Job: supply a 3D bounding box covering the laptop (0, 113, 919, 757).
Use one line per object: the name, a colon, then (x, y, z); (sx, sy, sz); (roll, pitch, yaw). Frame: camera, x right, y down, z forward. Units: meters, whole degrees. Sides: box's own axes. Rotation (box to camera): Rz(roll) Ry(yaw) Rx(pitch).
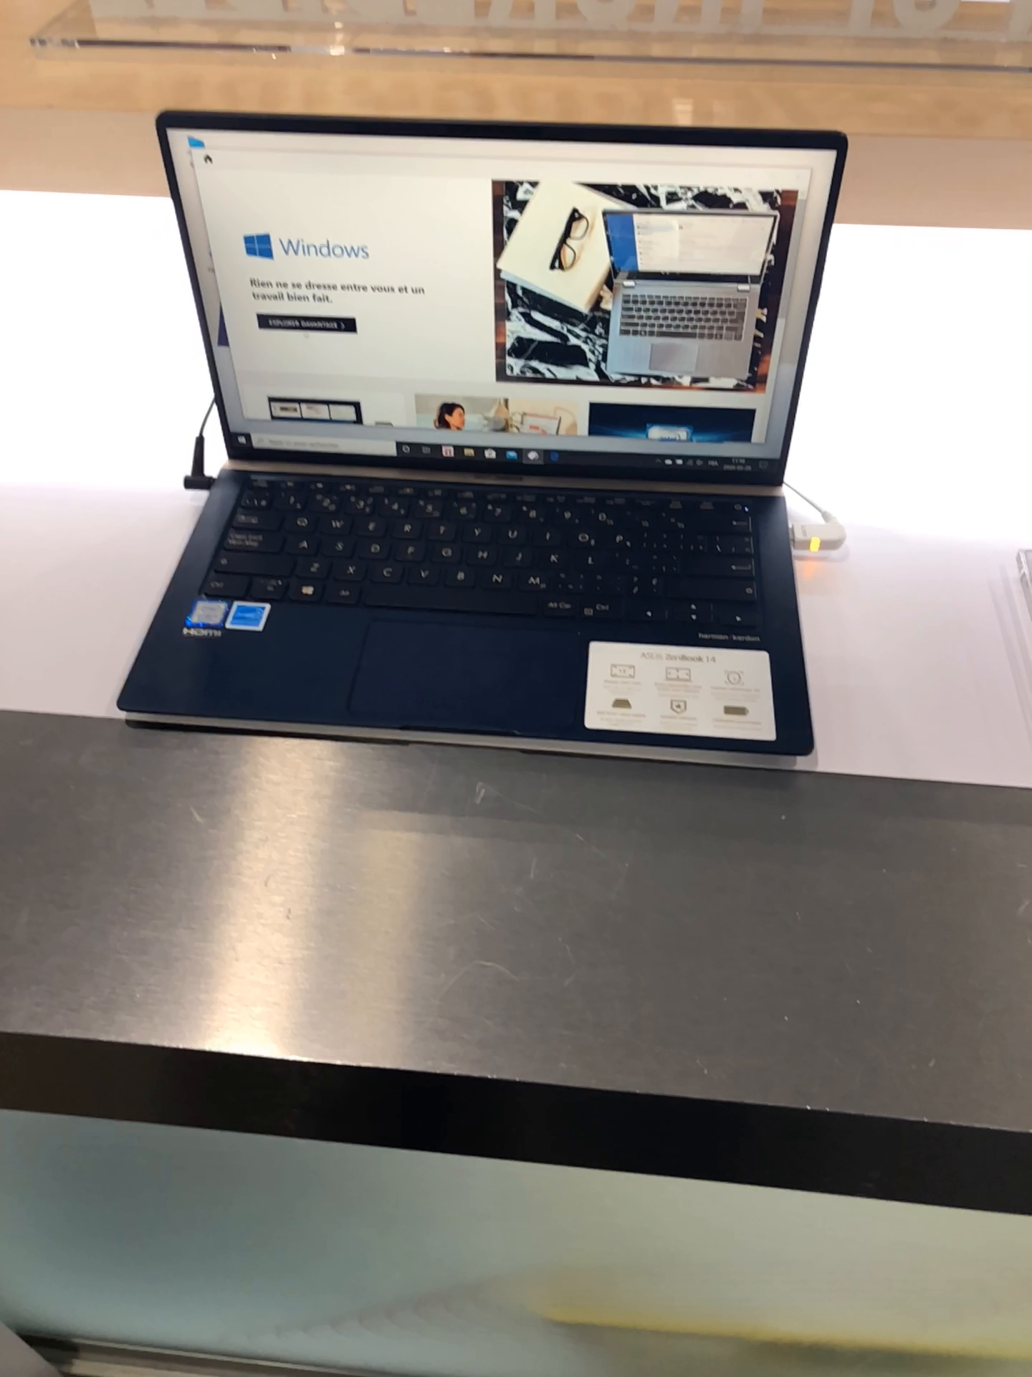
laptop: (-0.017, -0.111, 0.488); (0.301, 0.182, 0.192); (3, 46, 3)
